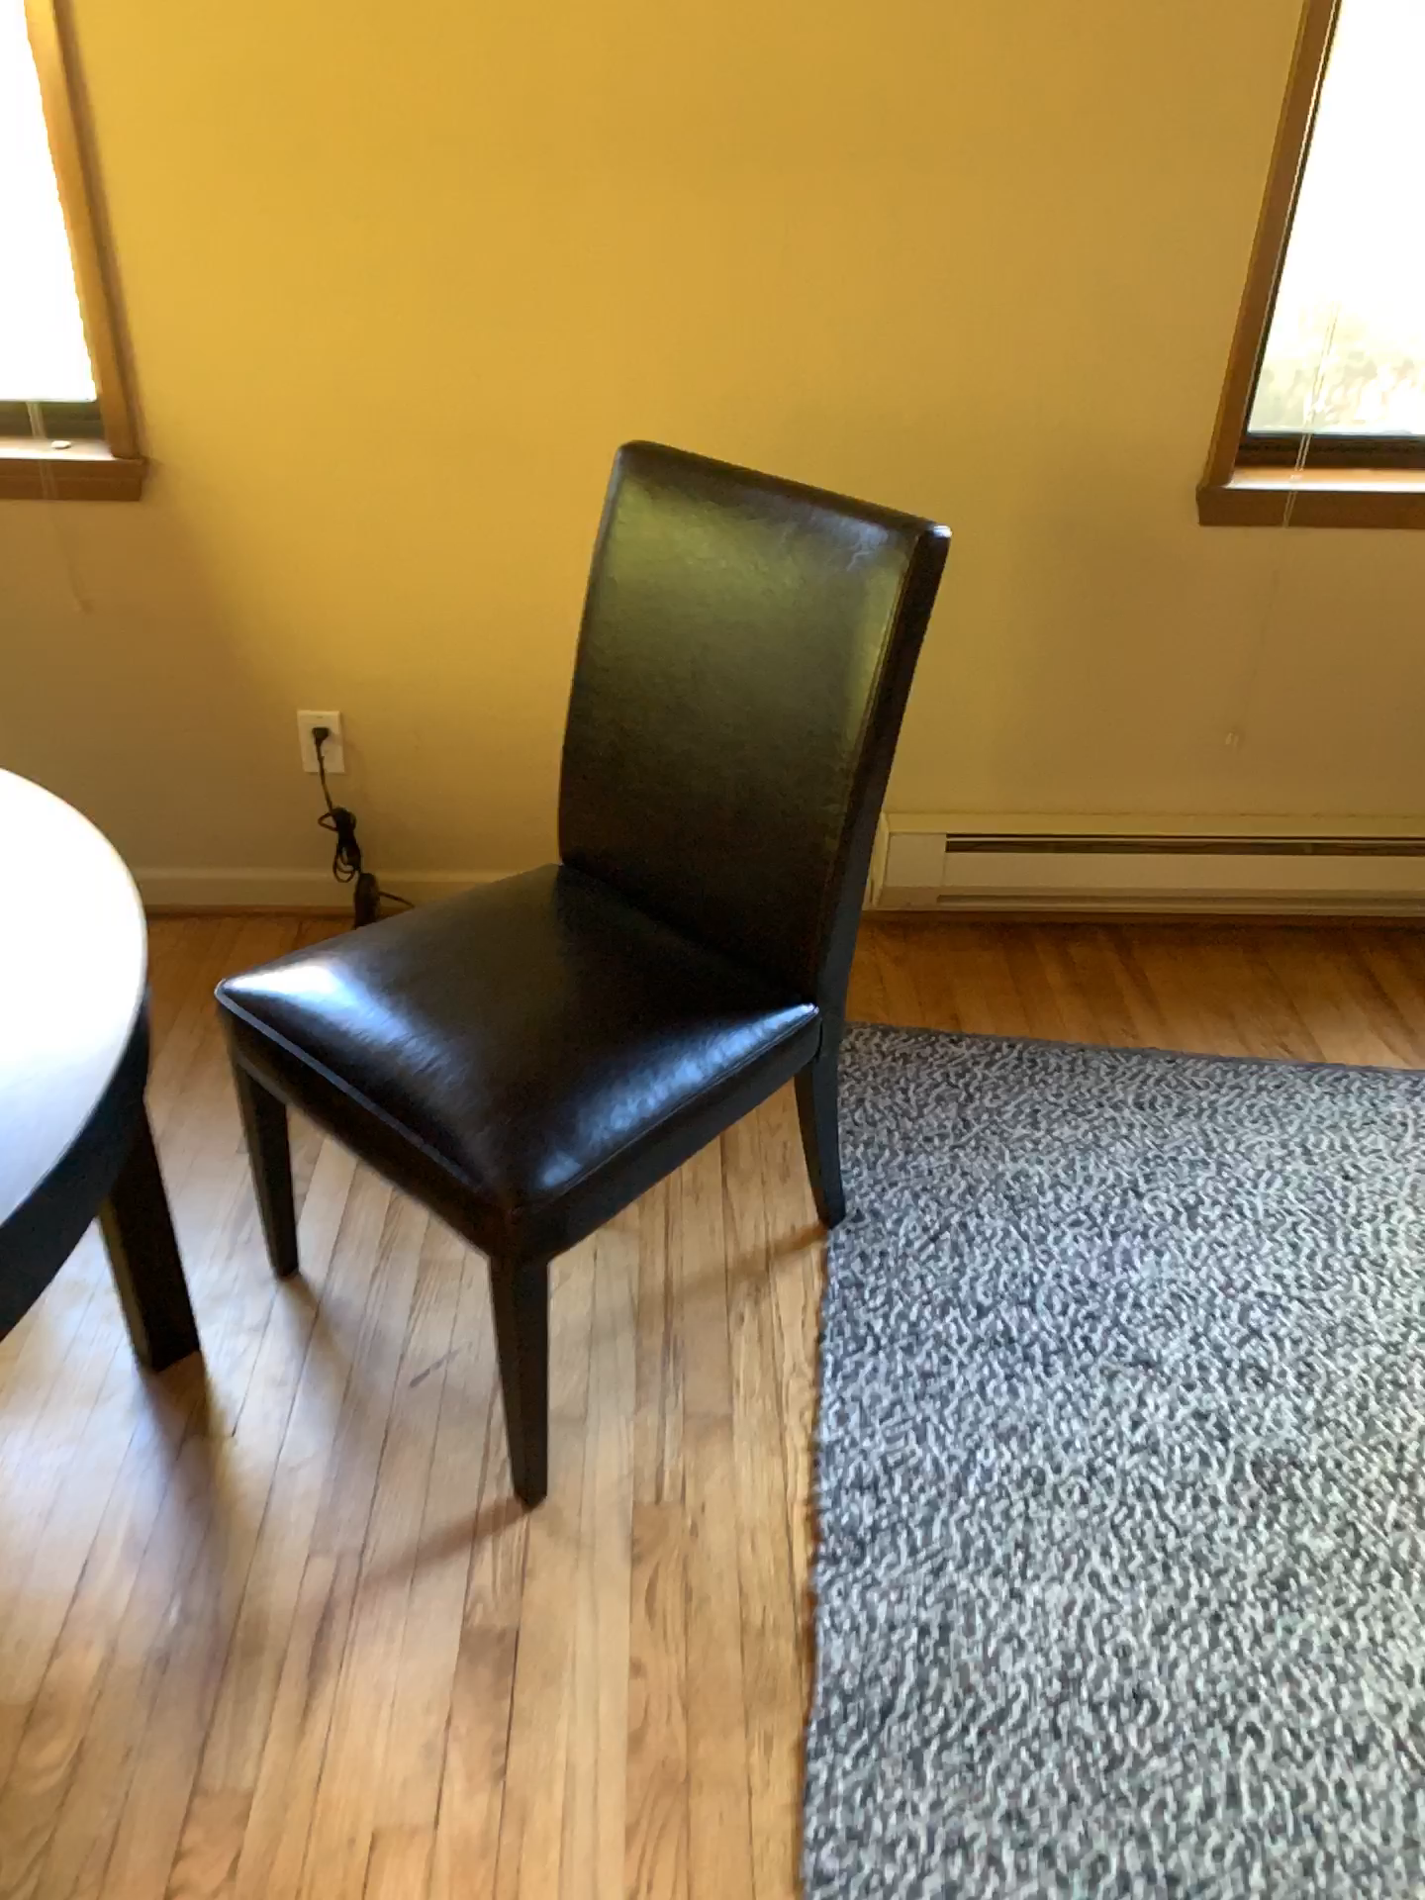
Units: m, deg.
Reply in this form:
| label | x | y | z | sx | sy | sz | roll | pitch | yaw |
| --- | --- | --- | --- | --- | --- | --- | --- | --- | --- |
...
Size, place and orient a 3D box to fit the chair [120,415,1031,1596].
| label | x | y | z | sx | sy | sz | roll | pitch | yaw |
| --- | --- | --- | --- | --- | --- | --- | --- | --- | --- |
| chair | -0.139 | 0.036 | 1.737 | 0.622 | 1.083 | 0.651 | 27 | 41 | 33 |
